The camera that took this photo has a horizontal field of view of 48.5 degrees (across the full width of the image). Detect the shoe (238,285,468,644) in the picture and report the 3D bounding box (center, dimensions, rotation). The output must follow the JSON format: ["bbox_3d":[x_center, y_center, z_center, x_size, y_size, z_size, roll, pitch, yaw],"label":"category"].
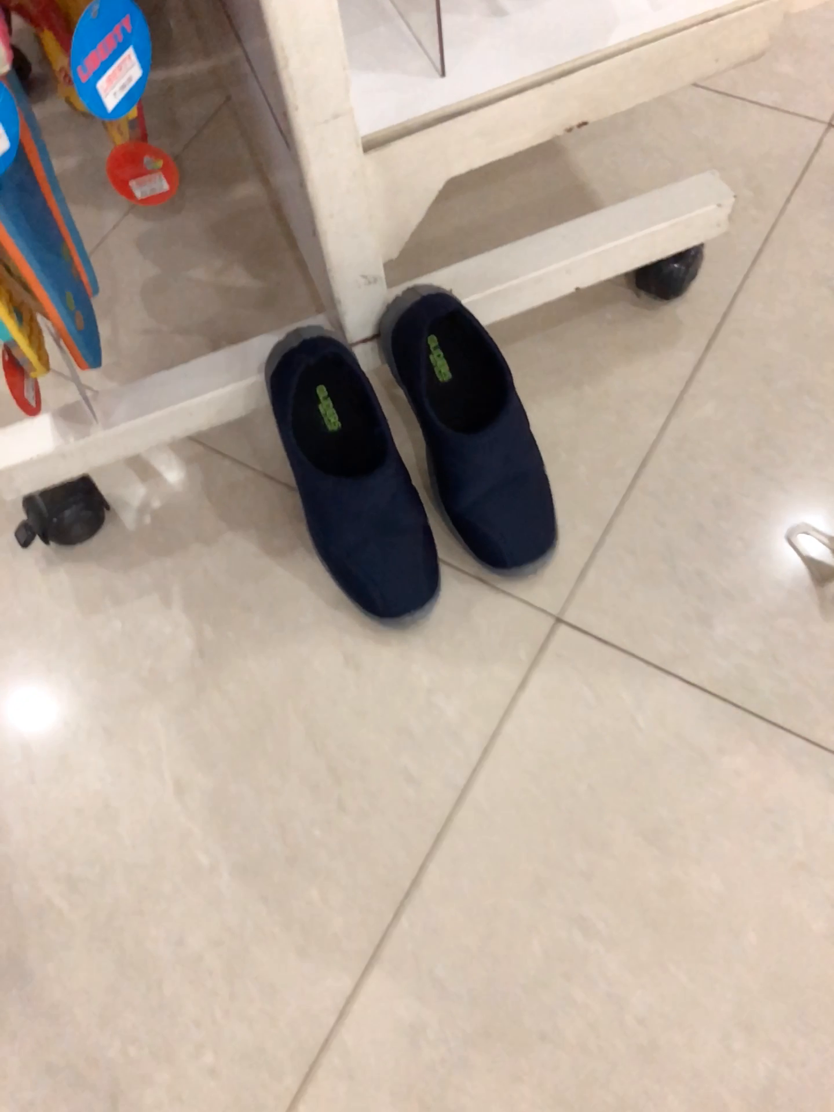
[{"bbox_3d":[-0.056,-0.079,0.813,0.107,0.064,0.288,-19,82,-3],"label":"shoe"}]

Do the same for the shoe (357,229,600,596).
[{"bbox_3d":[0.049,-0.124,0.813,0.110,0.084,0.288,-19,79,-3],"label":"shoe"}]
